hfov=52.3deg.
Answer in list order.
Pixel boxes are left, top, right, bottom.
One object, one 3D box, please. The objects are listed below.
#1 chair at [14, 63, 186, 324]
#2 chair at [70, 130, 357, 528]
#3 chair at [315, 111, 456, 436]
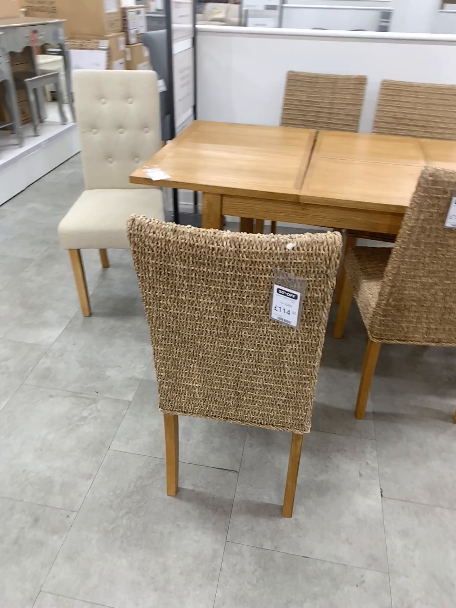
[{"bbox_3d":[-0.437,-0.480,1.942,0.424,0.840,0.731,2,34,1],"label":"chair"},{"bbox_3d":[0.010,0.051,1.266,0.505,0.840,0.580,8,34,9],"label":"chair"},{"bbox_3d":[0.633,-0.102,1.530,0.524,0.869,0.570,3,34,3],"label":"chair"}]
